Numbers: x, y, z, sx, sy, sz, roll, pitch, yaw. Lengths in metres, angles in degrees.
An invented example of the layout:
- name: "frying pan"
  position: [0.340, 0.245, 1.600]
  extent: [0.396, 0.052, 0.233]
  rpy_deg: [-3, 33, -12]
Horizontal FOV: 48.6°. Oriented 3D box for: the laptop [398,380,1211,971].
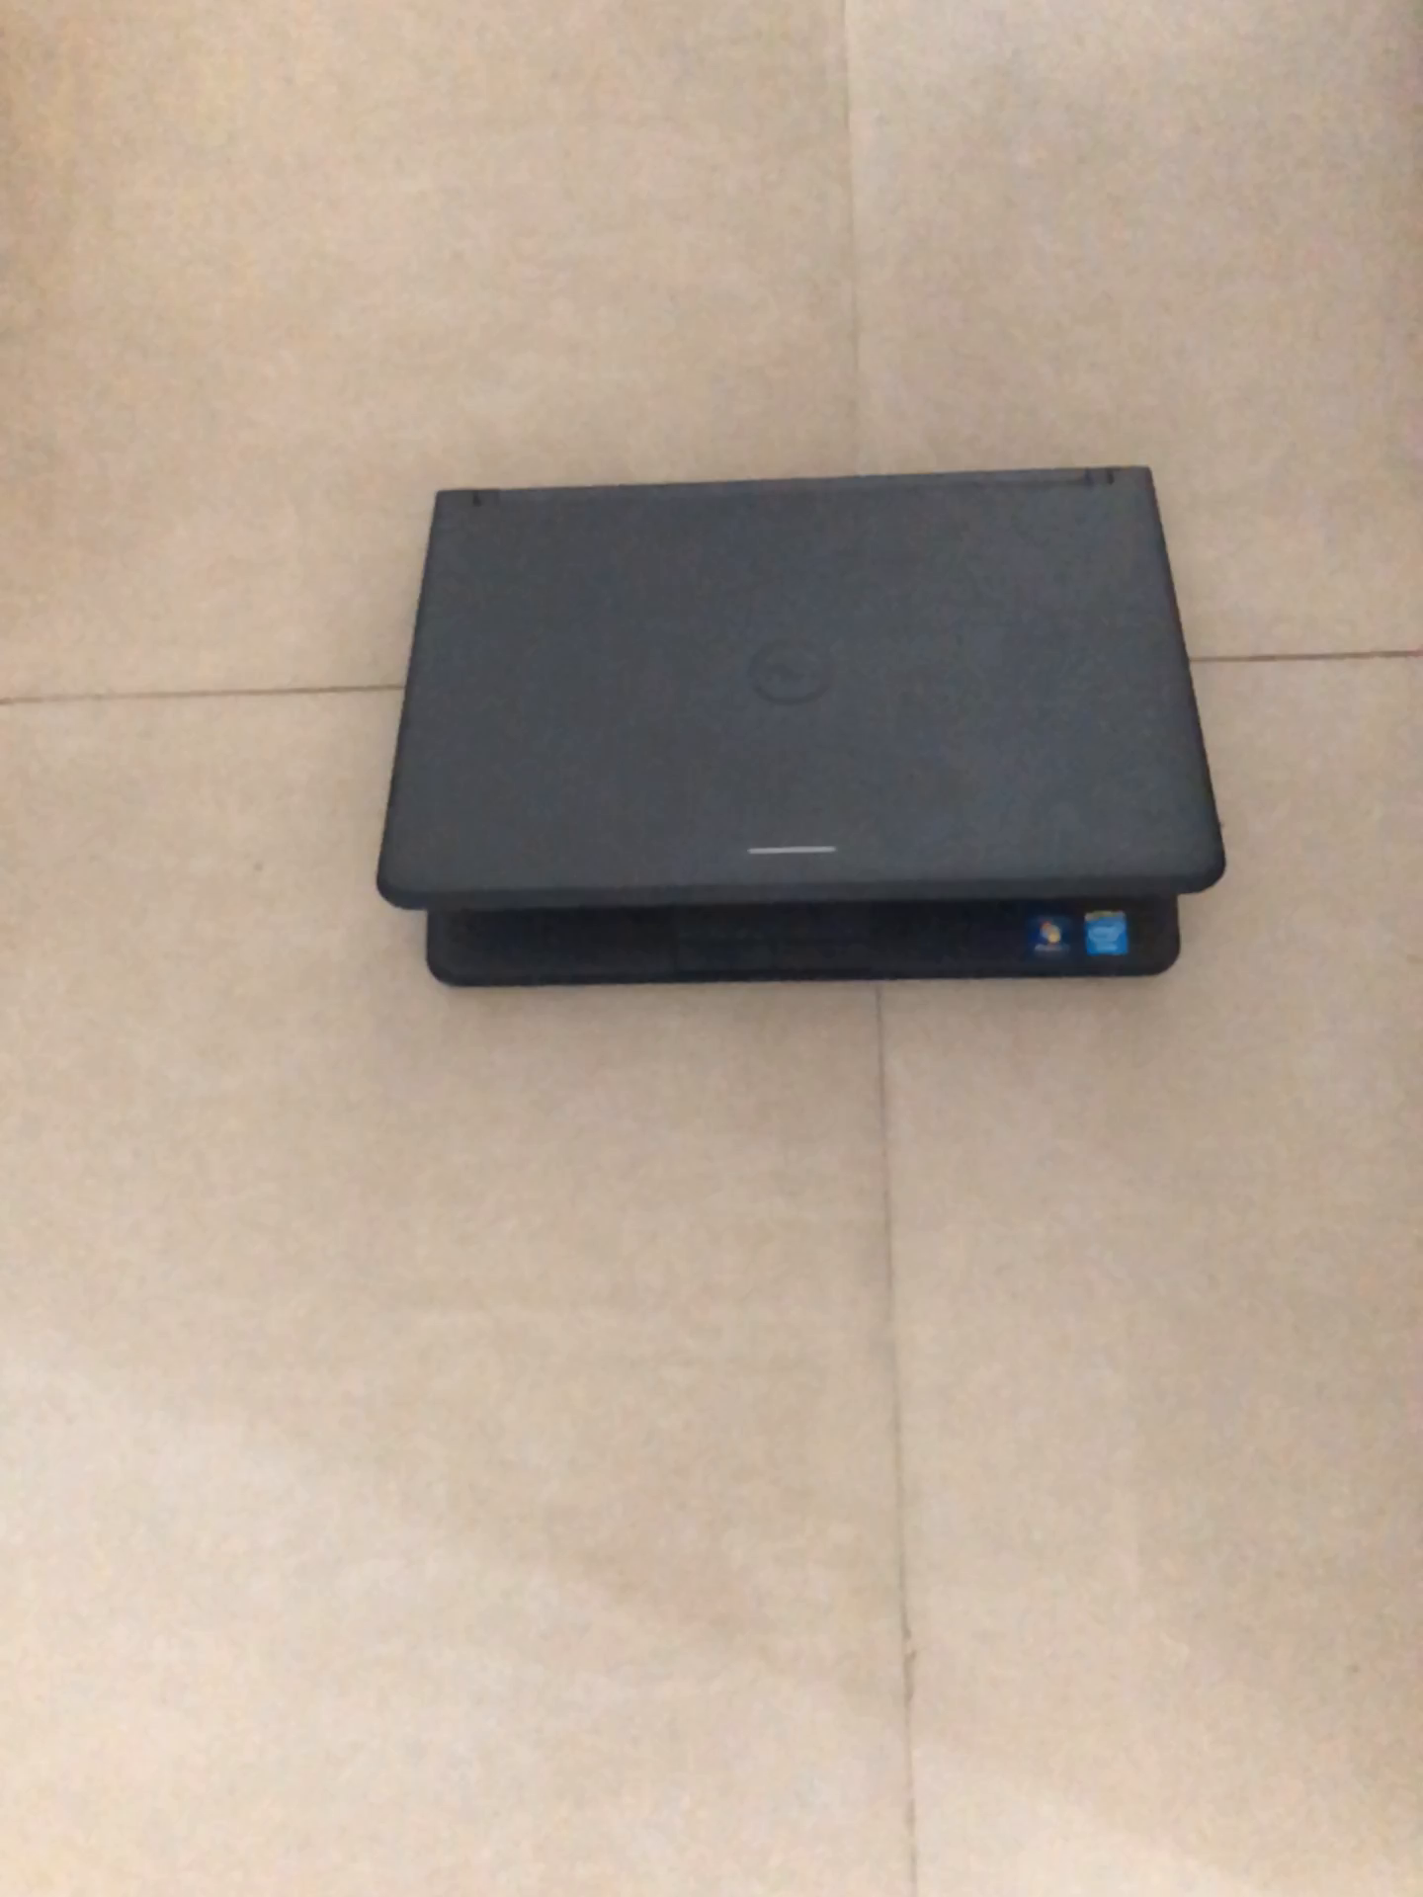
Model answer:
- name: "laptop"
  position: [0.036, -0.110, 0.659]
  extent: [0.314, 0.064, 0.220]
  rpy_deg: [-1, 80, 5]
